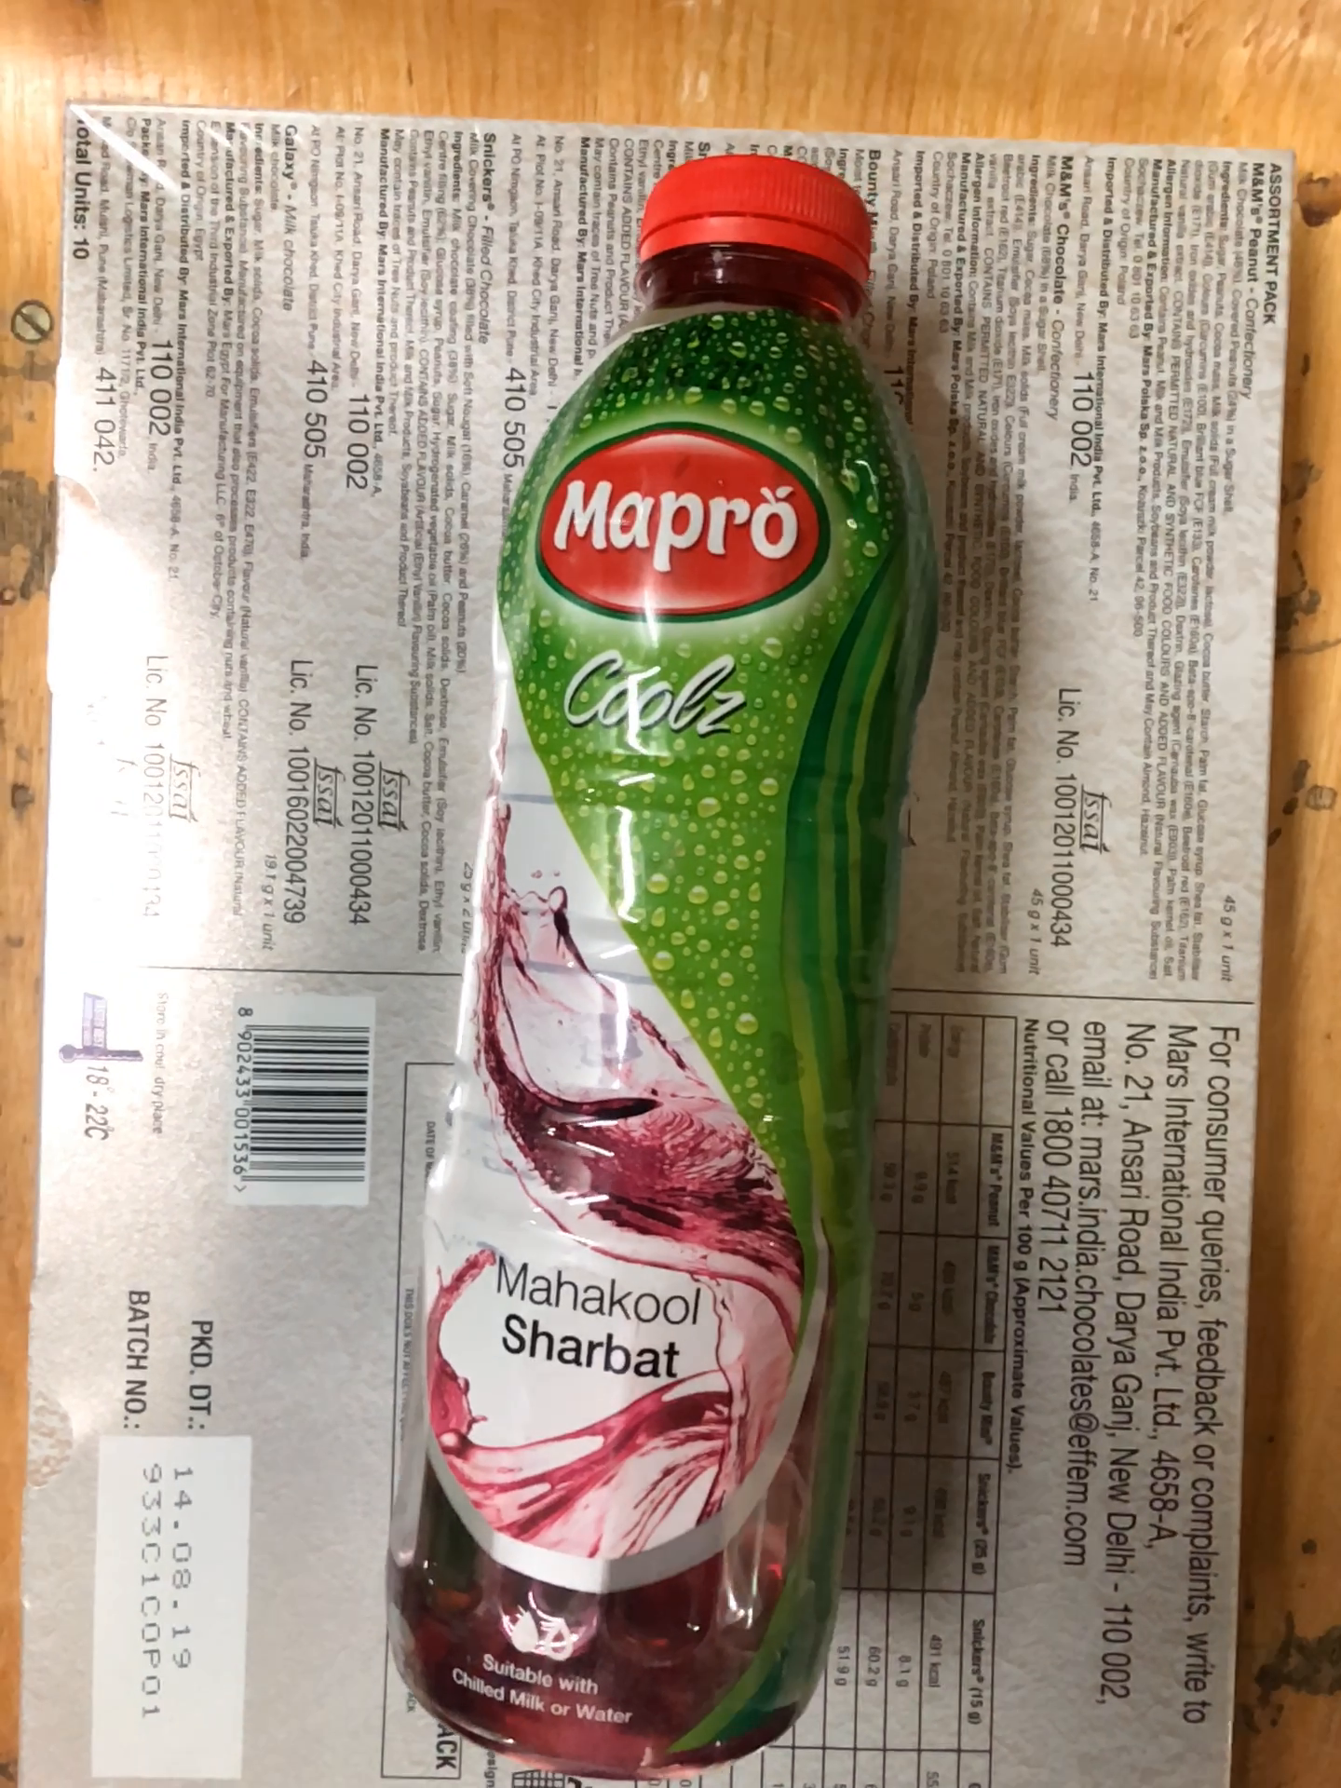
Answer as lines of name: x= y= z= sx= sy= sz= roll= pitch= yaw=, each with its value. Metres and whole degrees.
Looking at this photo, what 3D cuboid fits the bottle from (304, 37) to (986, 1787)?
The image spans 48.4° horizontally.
bottle: x=-0.001 y=0.009 z=0.261 sx=0.080 sy=0.060 sz=0.280 roll=6 pitch=92 yaw=12
